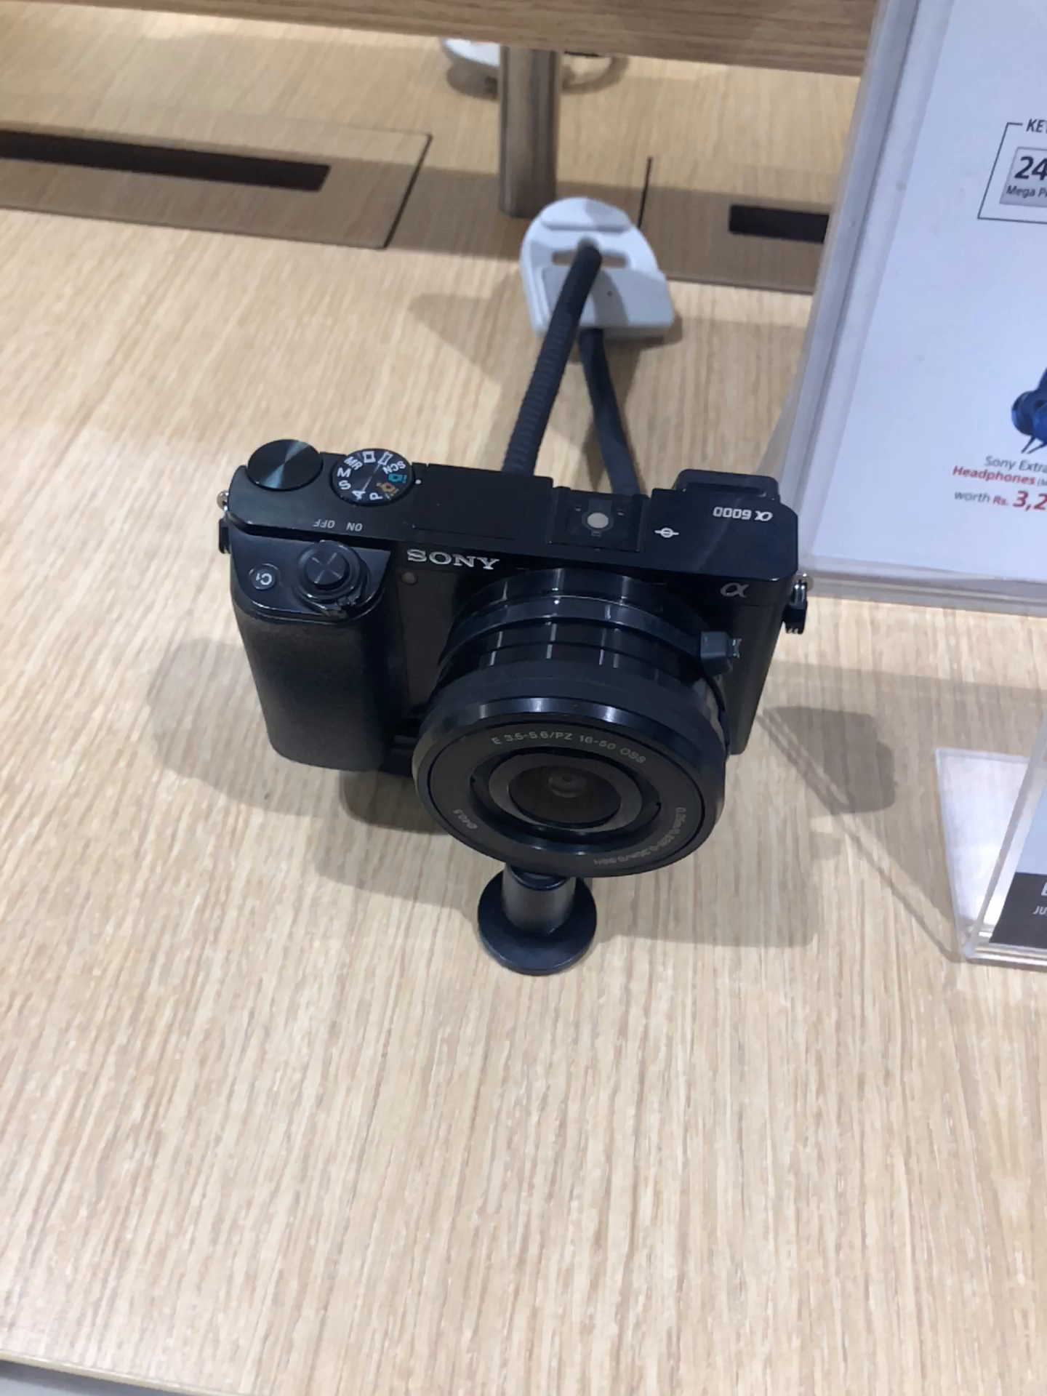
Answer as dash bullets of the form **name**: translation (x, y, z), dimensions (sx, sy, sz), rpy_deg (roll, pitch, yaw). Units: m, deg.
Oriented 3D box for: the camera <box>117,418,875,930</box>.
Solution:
- **camera**: translation (-0.003, -0.005, 0.248), dimensions (0.130, 0.070, 0.070), rpy_deg (5, 52, 3)
